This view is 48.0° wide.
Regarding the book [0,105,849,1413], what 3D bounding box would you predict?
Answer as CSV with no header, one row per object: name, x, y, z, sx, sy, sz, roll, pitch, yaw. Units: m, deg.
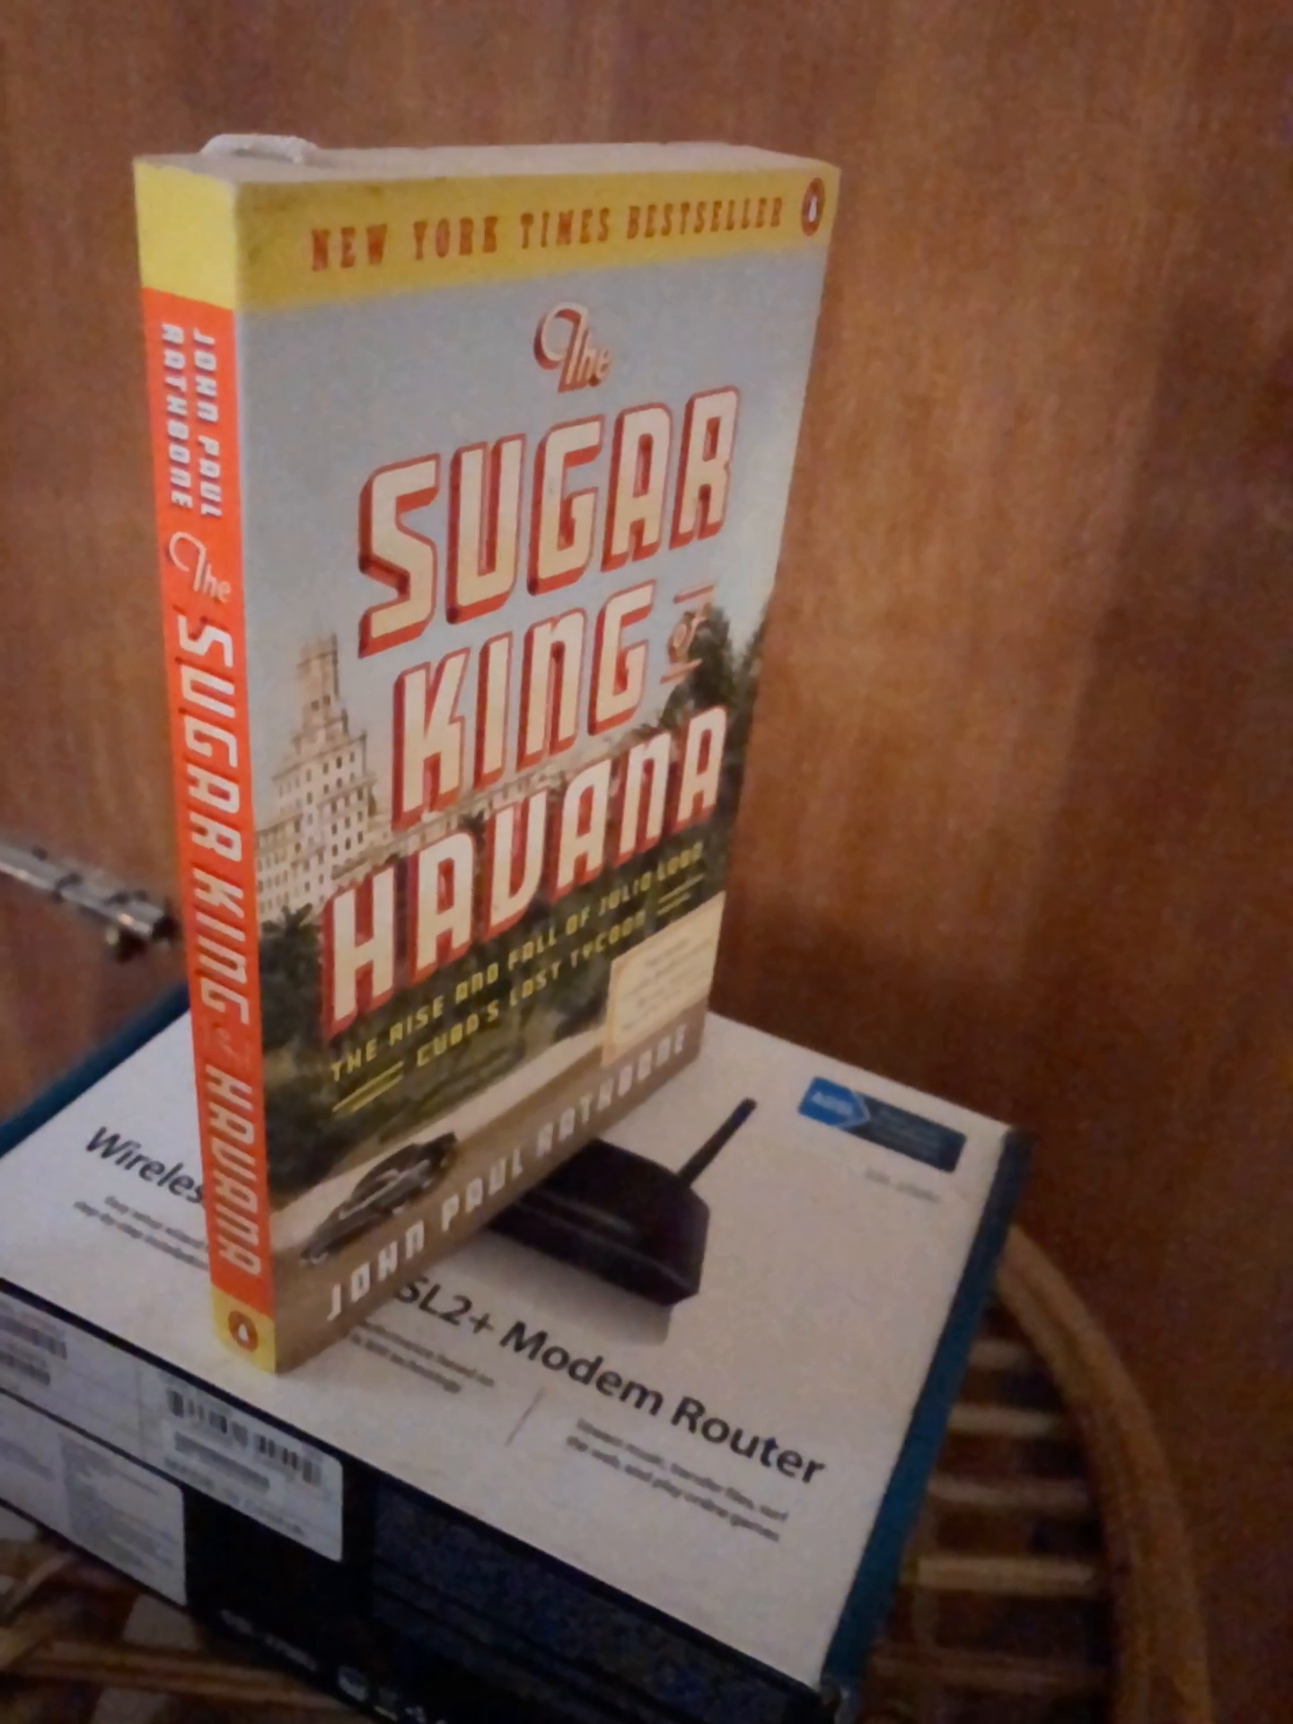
book,-0.029,-0.021,0.272,0.030,0.209,0.151,25,37,31
